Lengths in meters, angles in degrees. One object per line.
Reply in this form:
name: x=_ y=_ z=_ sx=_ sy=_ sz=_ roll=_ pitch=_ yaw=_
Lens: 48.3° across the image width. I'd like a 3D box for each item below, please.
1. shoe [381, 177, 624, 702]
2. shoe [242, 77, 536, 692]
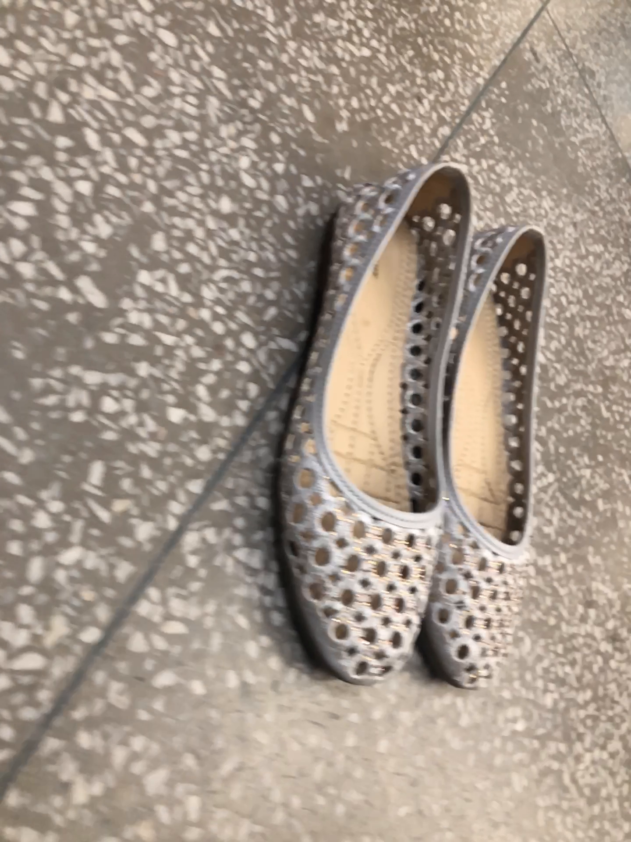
shoe: x=0.093 y=0.013 z=0.363 sx=0.093 sy=0.070 sz=0.240 roll=18 pitch=66 yaw=-40
shoe: x=0.035 y=-0.011 z=0.311 sx=0.093 sy=0.070 sz=0.240 roll=18 pitch=66 yaw=-40
